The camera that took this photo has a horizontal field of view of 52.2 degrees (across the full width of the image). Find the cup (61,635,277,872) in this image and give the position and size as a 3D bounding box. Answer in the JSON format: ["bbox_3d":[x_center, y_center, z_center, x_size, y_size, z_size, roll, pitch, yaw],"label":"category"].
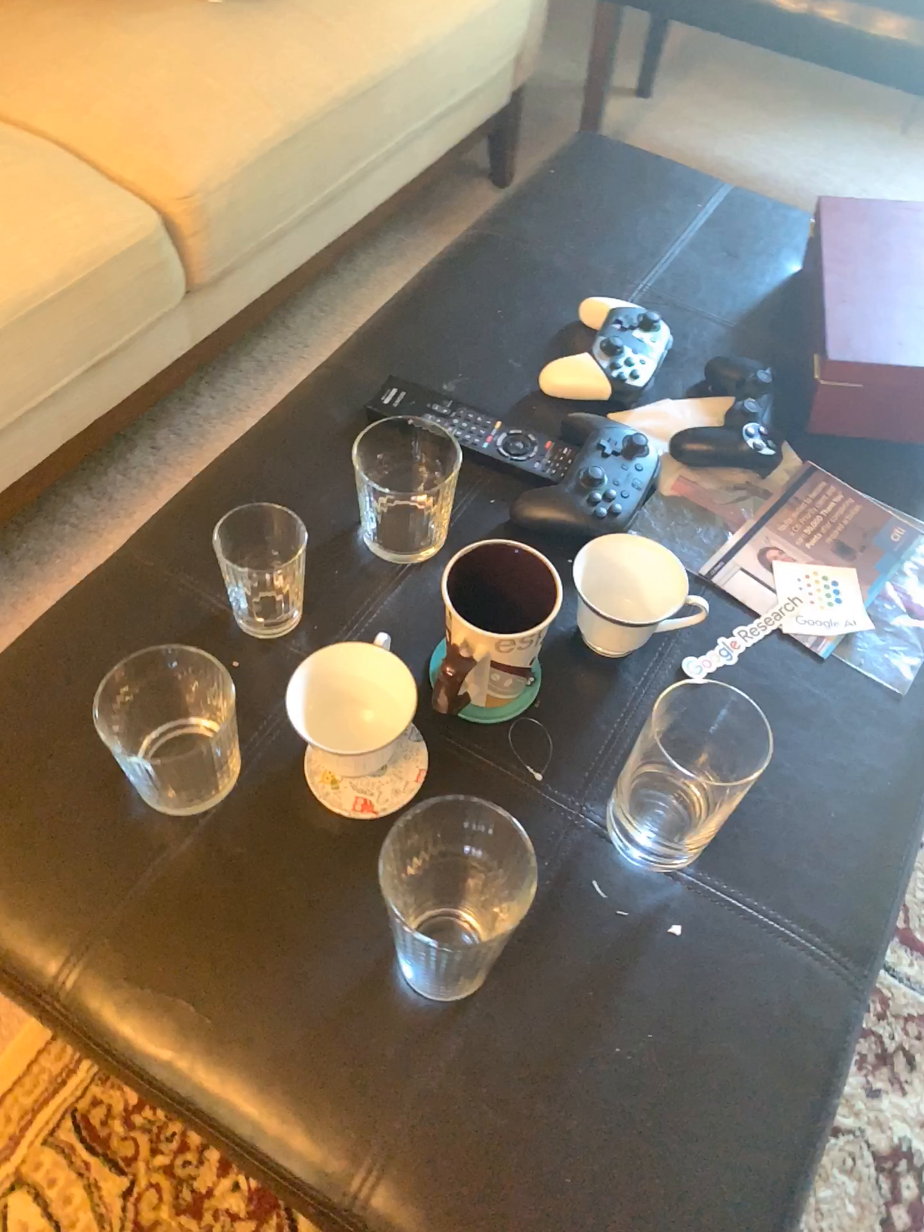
[{"bbox_3d":[-0.197,0.098,0.657,0.090,0.120,0.090,3,55,-4],"label":"cup"}]

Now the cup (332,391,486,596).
[{"bbox_3d":[-0.046,-0.102,0.798,0.090,0.120,0.090,3,55,-4],"label":"cup"}]

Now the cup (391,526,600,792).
[{"bbox_3d":[0.022,0.033,0.701,0.090,0.120,0.130,28,57,13],"label":"cup"}]

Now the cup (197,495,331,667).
[{"bbox_3d":[-0.152,-0.026,0.740,0.070,0.100,0.070,3,55,-4],"label":"cup"}]

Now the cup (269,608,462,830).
[{"bbox_3d":[-0.066,0.072,0.664,0.090,0.070,0.110,22,56,9],"label":"cup"}]

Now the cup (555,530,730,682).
[{"bbox_3d":[0.140,-0.007,0.757,0.110,0.080,0.090,1,55,-5],"label":"cup"}]

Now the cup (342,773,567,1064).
[{"bbox_3d":[-0.011,0.194,0.585,0.090,0.189,0.090,3,55,-4],"label":"cup"}]

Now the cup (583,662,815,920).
[{"bbox_3d":[0.153,0.119,0.628,0.090,0.139,0.090,3,55,-4],"label":"cup"}]
